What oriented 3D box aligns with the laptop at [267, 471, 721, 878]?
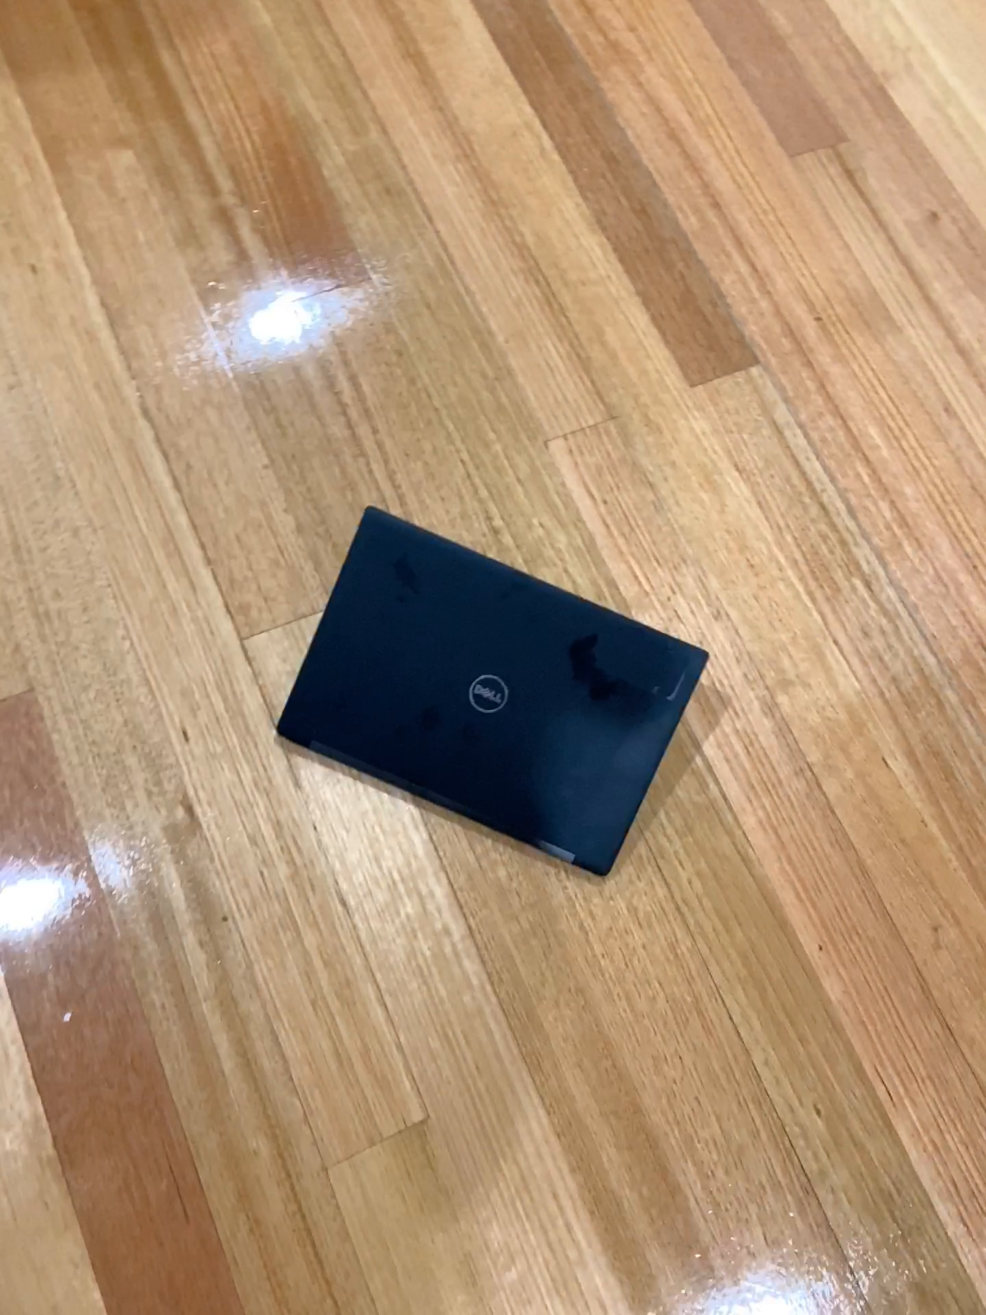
[{"bbox_3d":[-0.001,0.017,0.828,0.296,0.110,0.207,24,72,2],"label":"laptop"}]
